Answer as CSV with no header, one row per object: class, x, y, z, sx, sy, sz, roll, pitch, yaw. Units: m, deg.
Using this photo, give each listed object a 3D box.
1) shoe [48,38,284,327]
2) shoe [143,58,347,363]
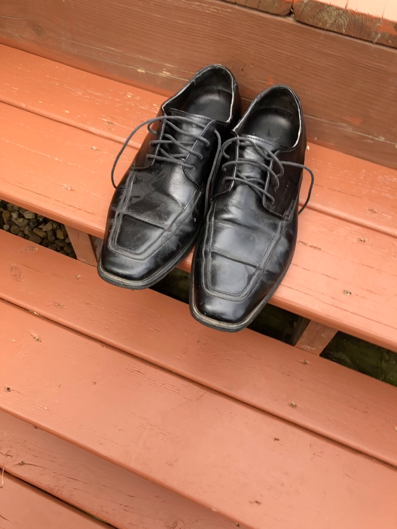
shoe,-0.019,-0.112,0.526,0.130,0.110,0.330,21,61,9
shoe,0.063,-0.076,0.506,0.130,0.110,0.330,17,61,7
